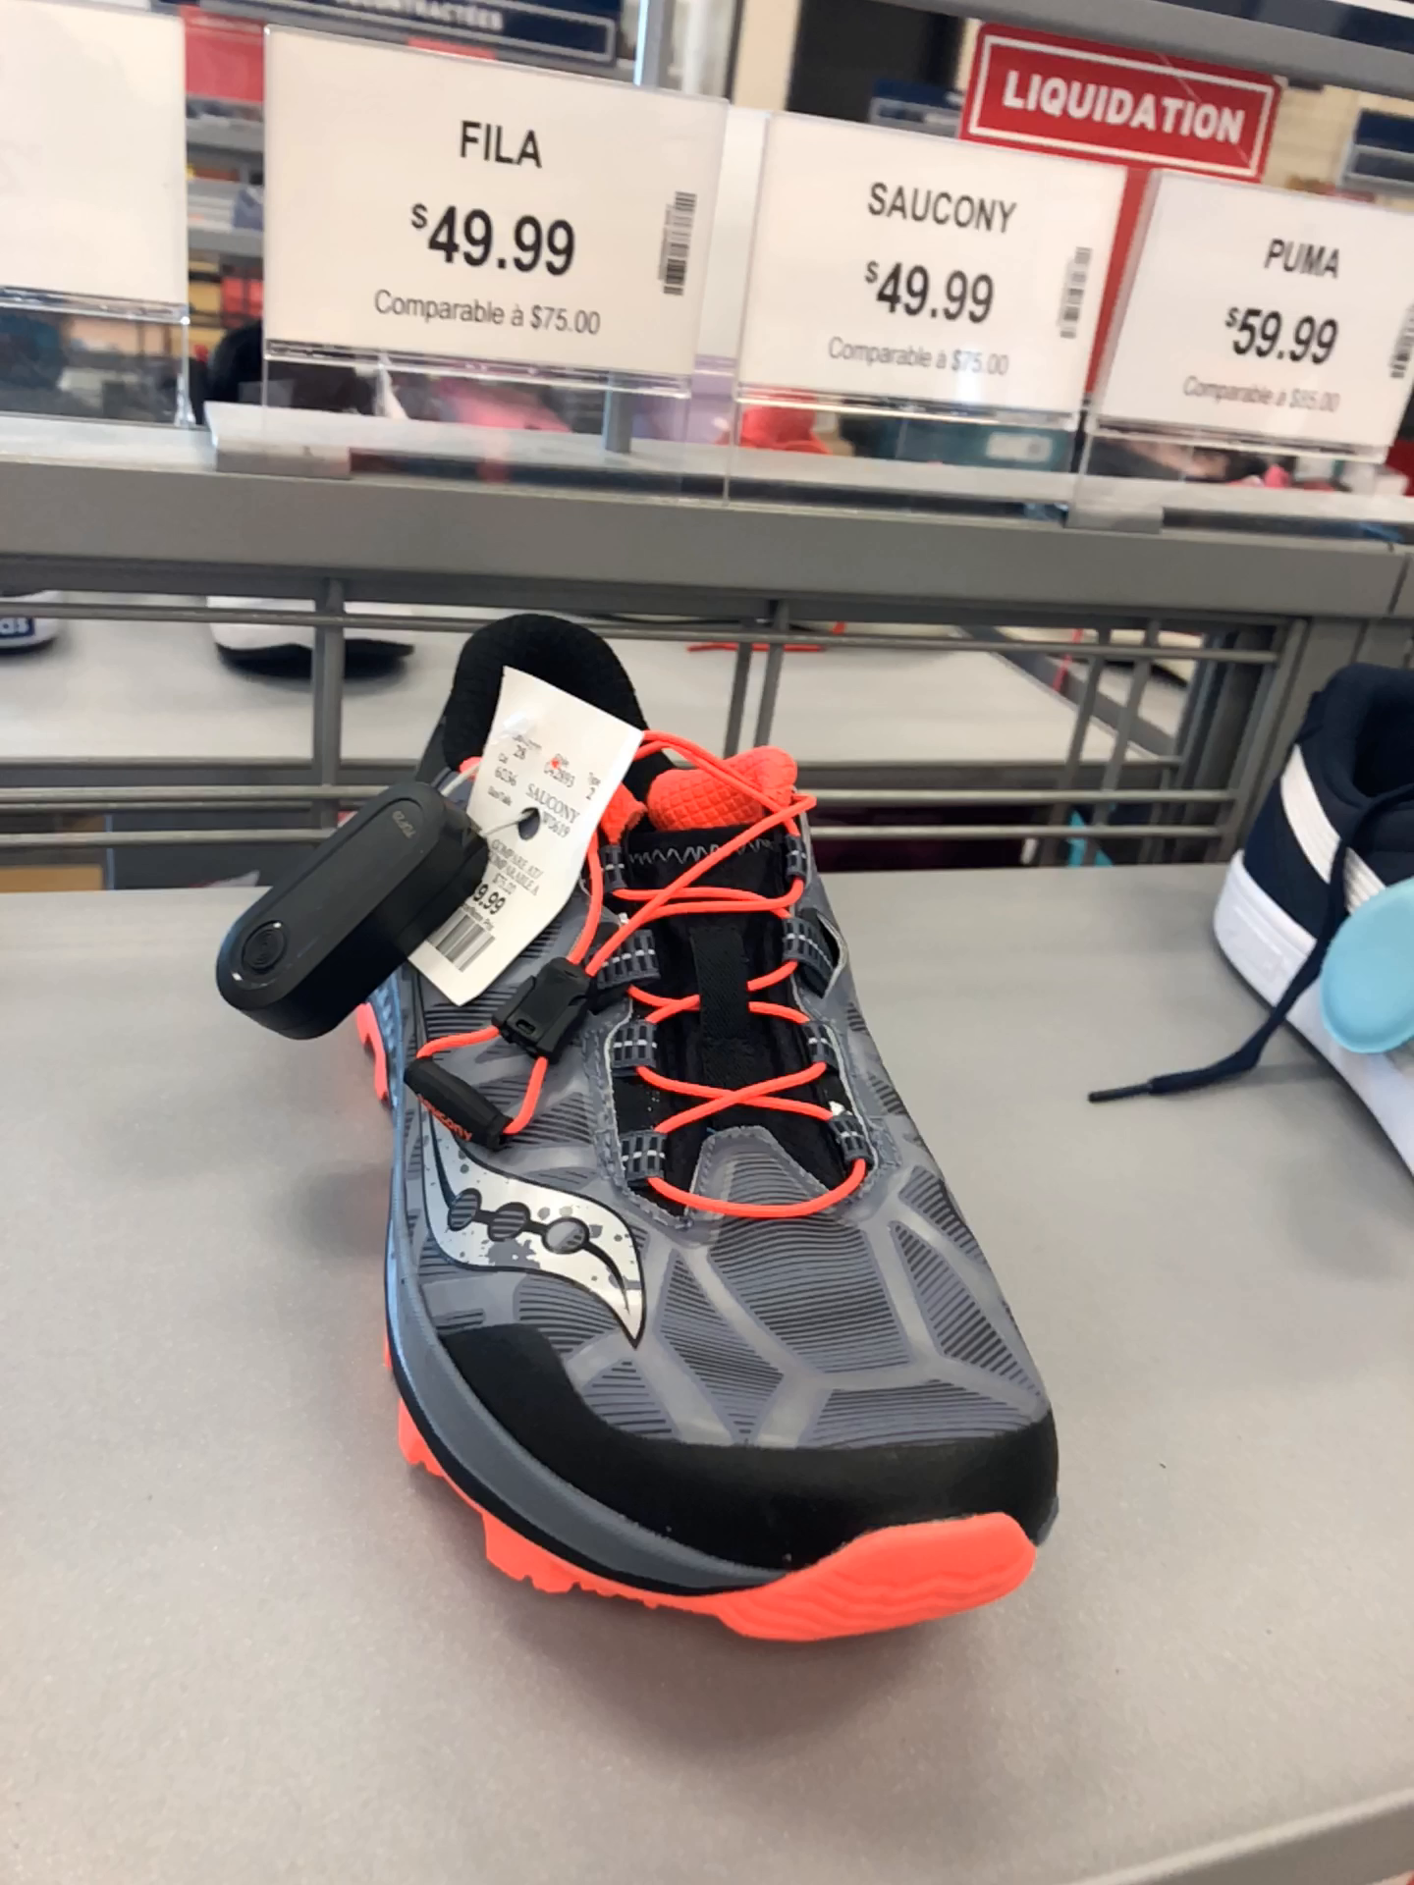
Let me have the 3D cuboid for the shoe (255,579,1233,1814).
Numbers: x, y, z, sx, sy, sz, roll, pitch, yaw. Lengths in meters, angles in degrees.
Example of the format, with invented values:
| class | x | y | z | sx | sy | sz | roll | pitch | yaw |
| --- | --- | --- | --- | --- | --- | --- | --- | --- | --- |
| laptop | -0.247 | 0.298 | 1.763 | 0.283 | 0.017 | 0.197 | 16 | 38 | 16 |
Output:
| class | x | y | z | sx | sy | sz | roll | pitch | yaw |
| --- | --- | --- | --- | --- | --- | --- | --- | --- | --- |
| shoe | -0.030 | 0.015 | 0.356 | 0.110 | 0.109 | 0.292 | -3 | 29 | -21 |
